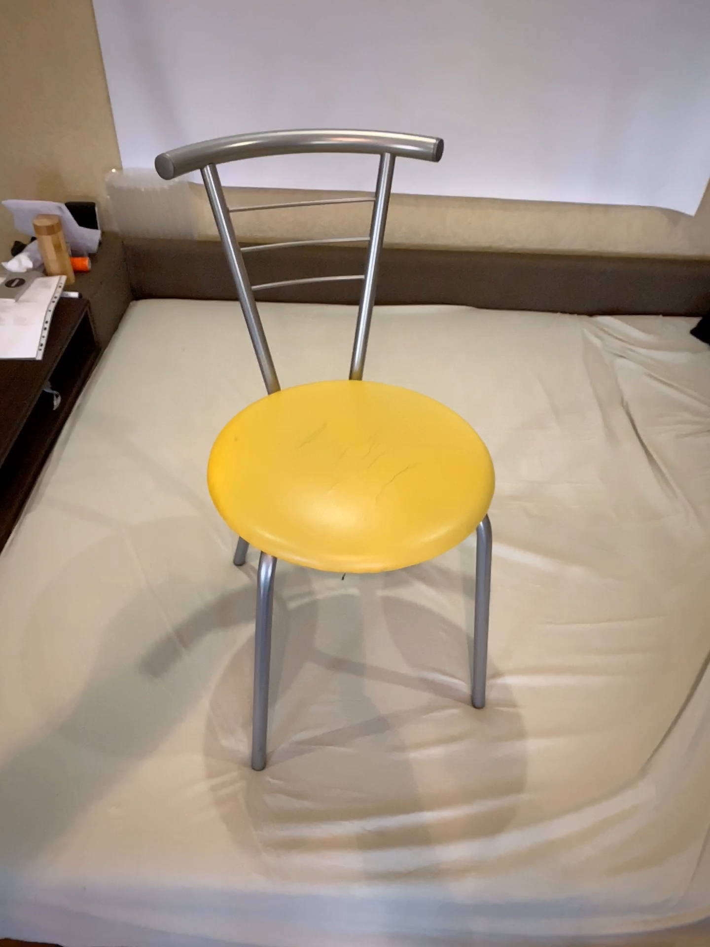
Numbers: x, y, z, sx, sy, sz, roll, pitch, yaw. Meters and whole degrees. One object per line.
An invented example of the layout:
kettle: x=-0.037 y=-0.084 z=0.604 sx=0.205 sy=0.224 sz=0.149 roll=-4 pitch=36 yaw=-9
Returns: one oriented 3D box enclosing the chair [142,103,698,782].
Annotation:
chair: x=0.013 y=-0.034 z=1.047 sx=0.460 sy=0.763 sz=0.504 roll=-10 pitch=43 yaw=-13
